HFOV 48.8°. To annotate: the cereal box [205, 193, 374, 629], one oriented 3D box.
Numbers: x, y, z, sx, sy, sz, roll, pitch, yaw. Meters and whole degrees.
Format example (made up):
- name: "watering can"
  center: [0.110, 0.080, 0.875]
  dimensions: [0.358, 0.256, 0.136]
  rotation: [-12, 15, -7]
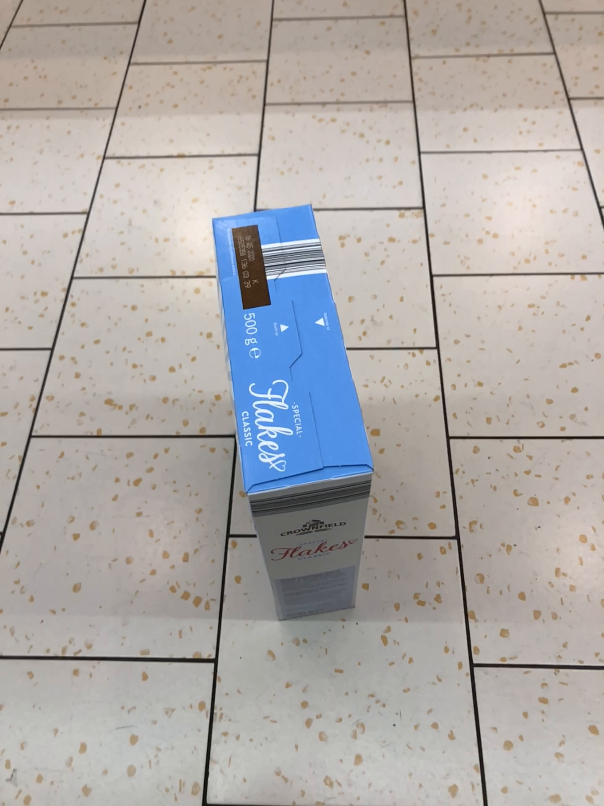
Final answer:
- name: "cereal box"
  center: [-0.009, 0.025, 0.486]
  dimensions: [0.070, 0.269, 0.201]
  rotation: [-8, 58, -2]
